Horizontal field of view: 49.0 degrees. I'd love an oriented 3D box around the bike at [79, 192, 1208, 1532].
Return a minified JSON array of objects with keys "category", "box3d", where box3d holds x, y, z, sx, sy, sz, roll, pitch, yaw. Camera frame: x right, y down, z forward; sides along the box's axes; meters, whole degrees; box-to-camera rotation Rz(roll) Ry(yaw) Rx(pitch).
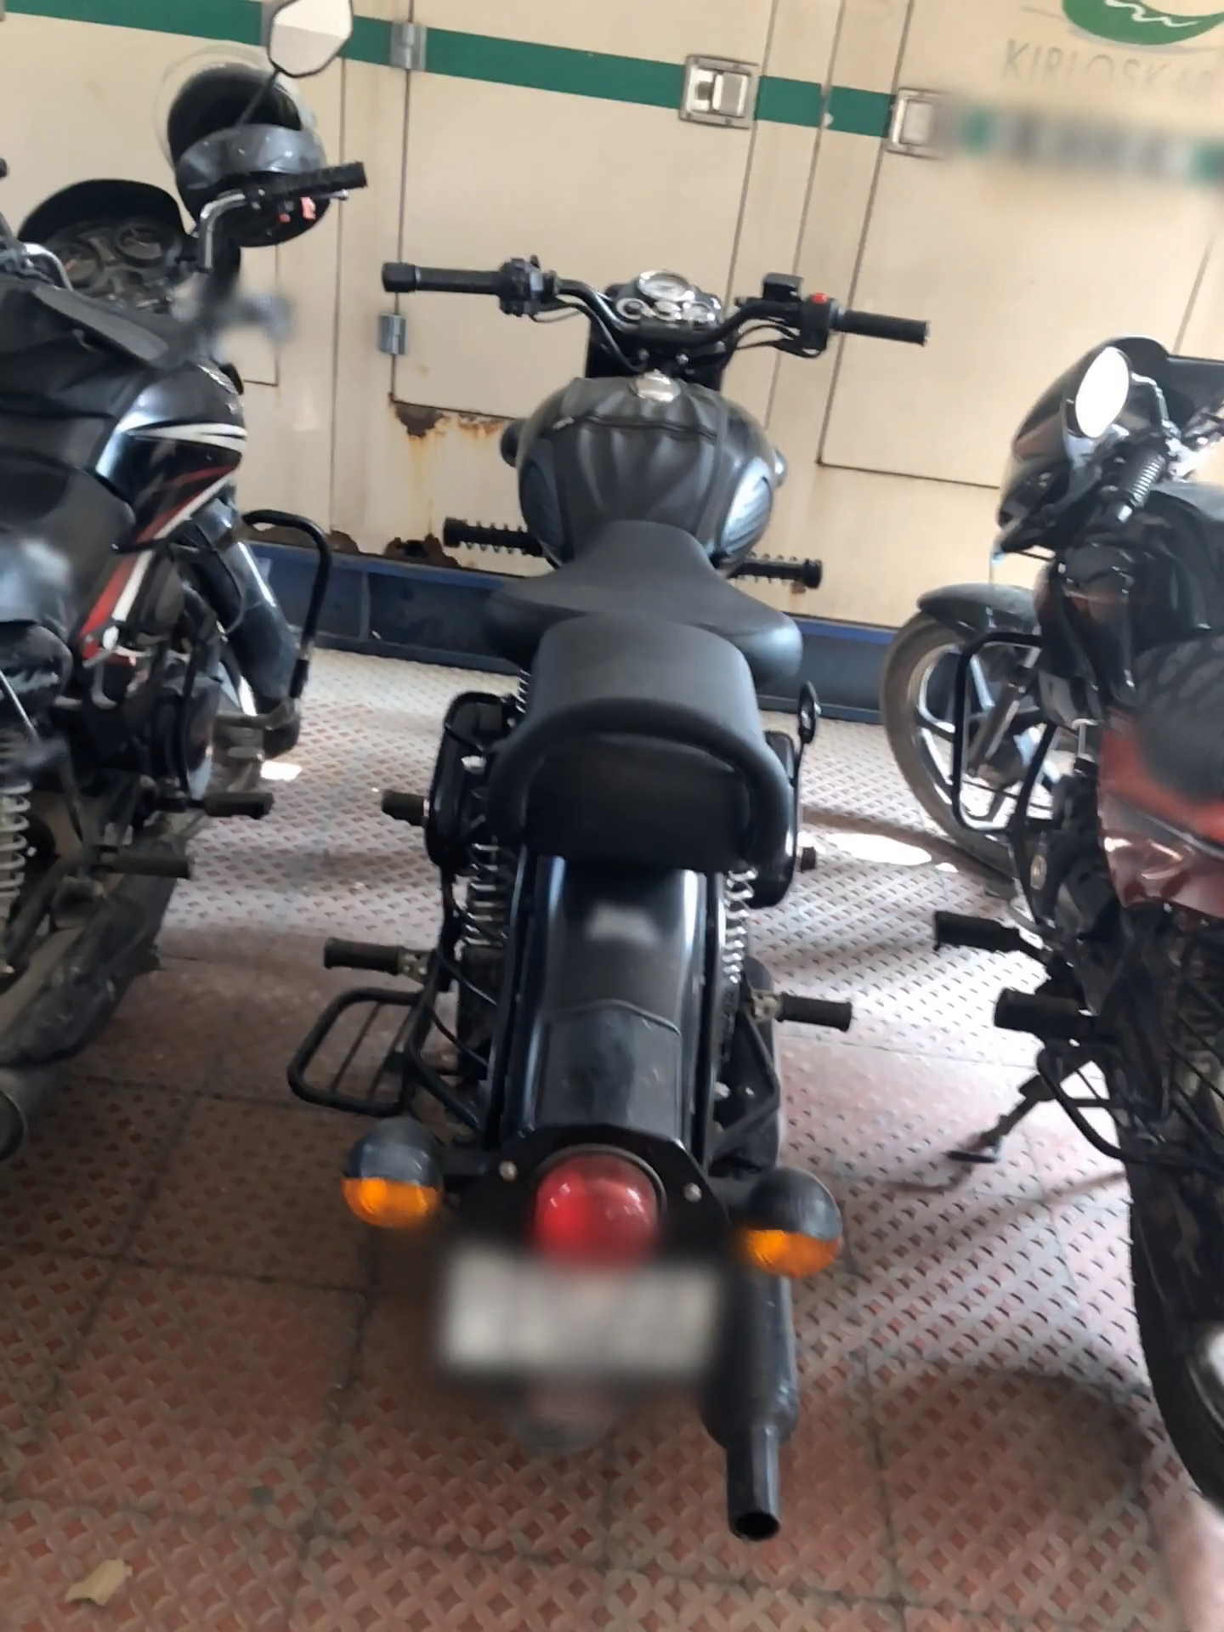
[{"category":"bike","box3d":[-0.053,-0.181,1.789,0.708,0.920,1.695,6,30,-5]}]
